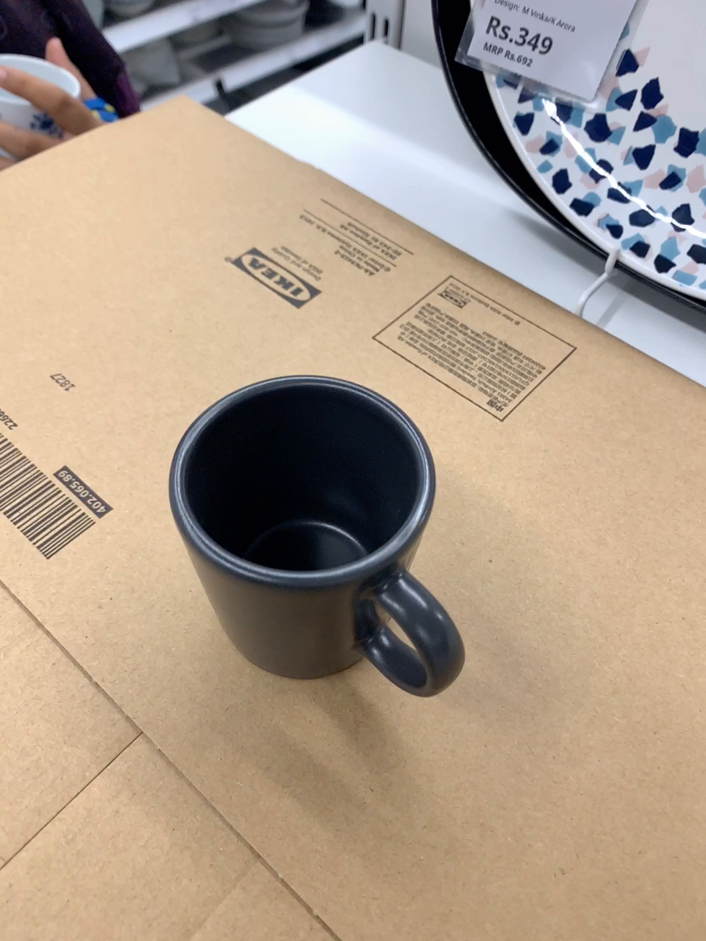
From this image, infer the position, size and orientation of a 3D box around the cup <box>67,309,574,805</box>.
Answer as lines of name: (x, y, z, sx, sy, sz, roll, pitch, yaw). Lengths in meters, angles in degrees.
cup: (-0.009, 0.019, 0.180, 0.090, 0.060, 0.060, 35, 58, 20)
